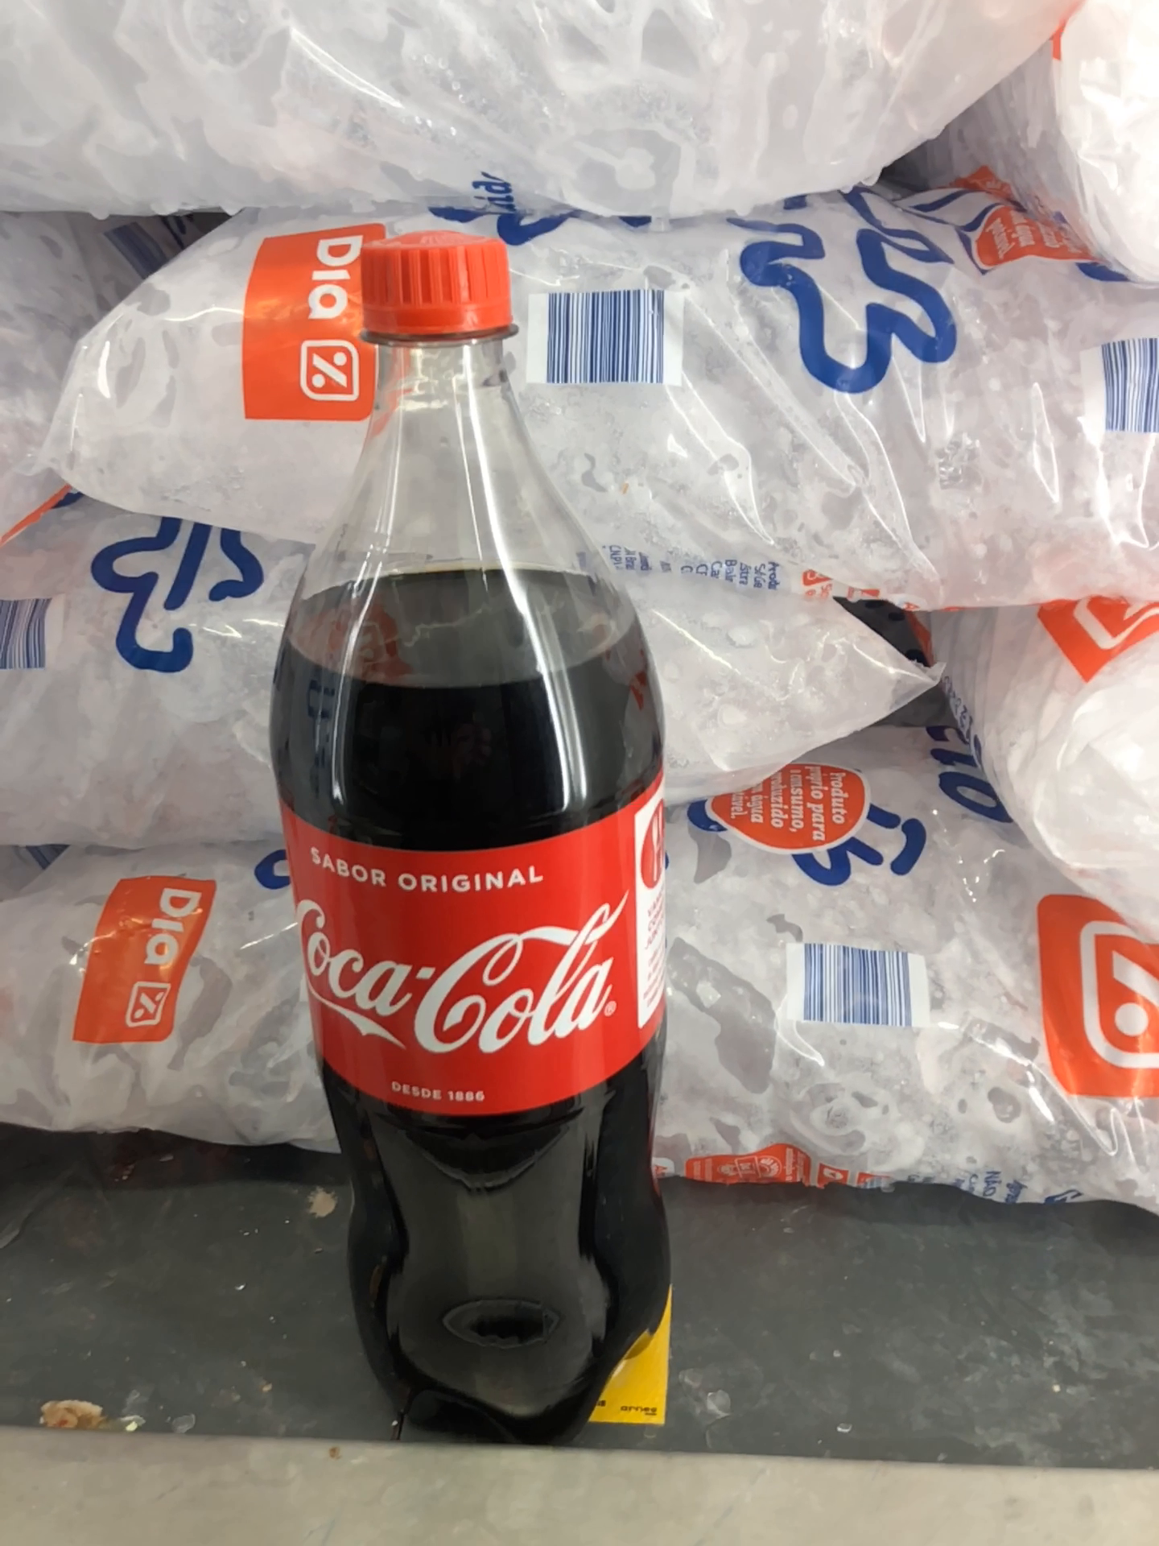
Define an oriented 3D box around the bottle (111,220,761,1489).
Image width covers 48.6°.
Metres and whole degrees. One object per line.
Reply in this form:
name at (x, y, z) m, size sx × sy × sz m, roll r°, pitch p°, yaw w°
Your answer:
bottle at (-0.018, 0.029, 0.304) m, size 0.100 × 0.288 × 0.081 m, roll 5°, pitch 28°, yaw 12°
